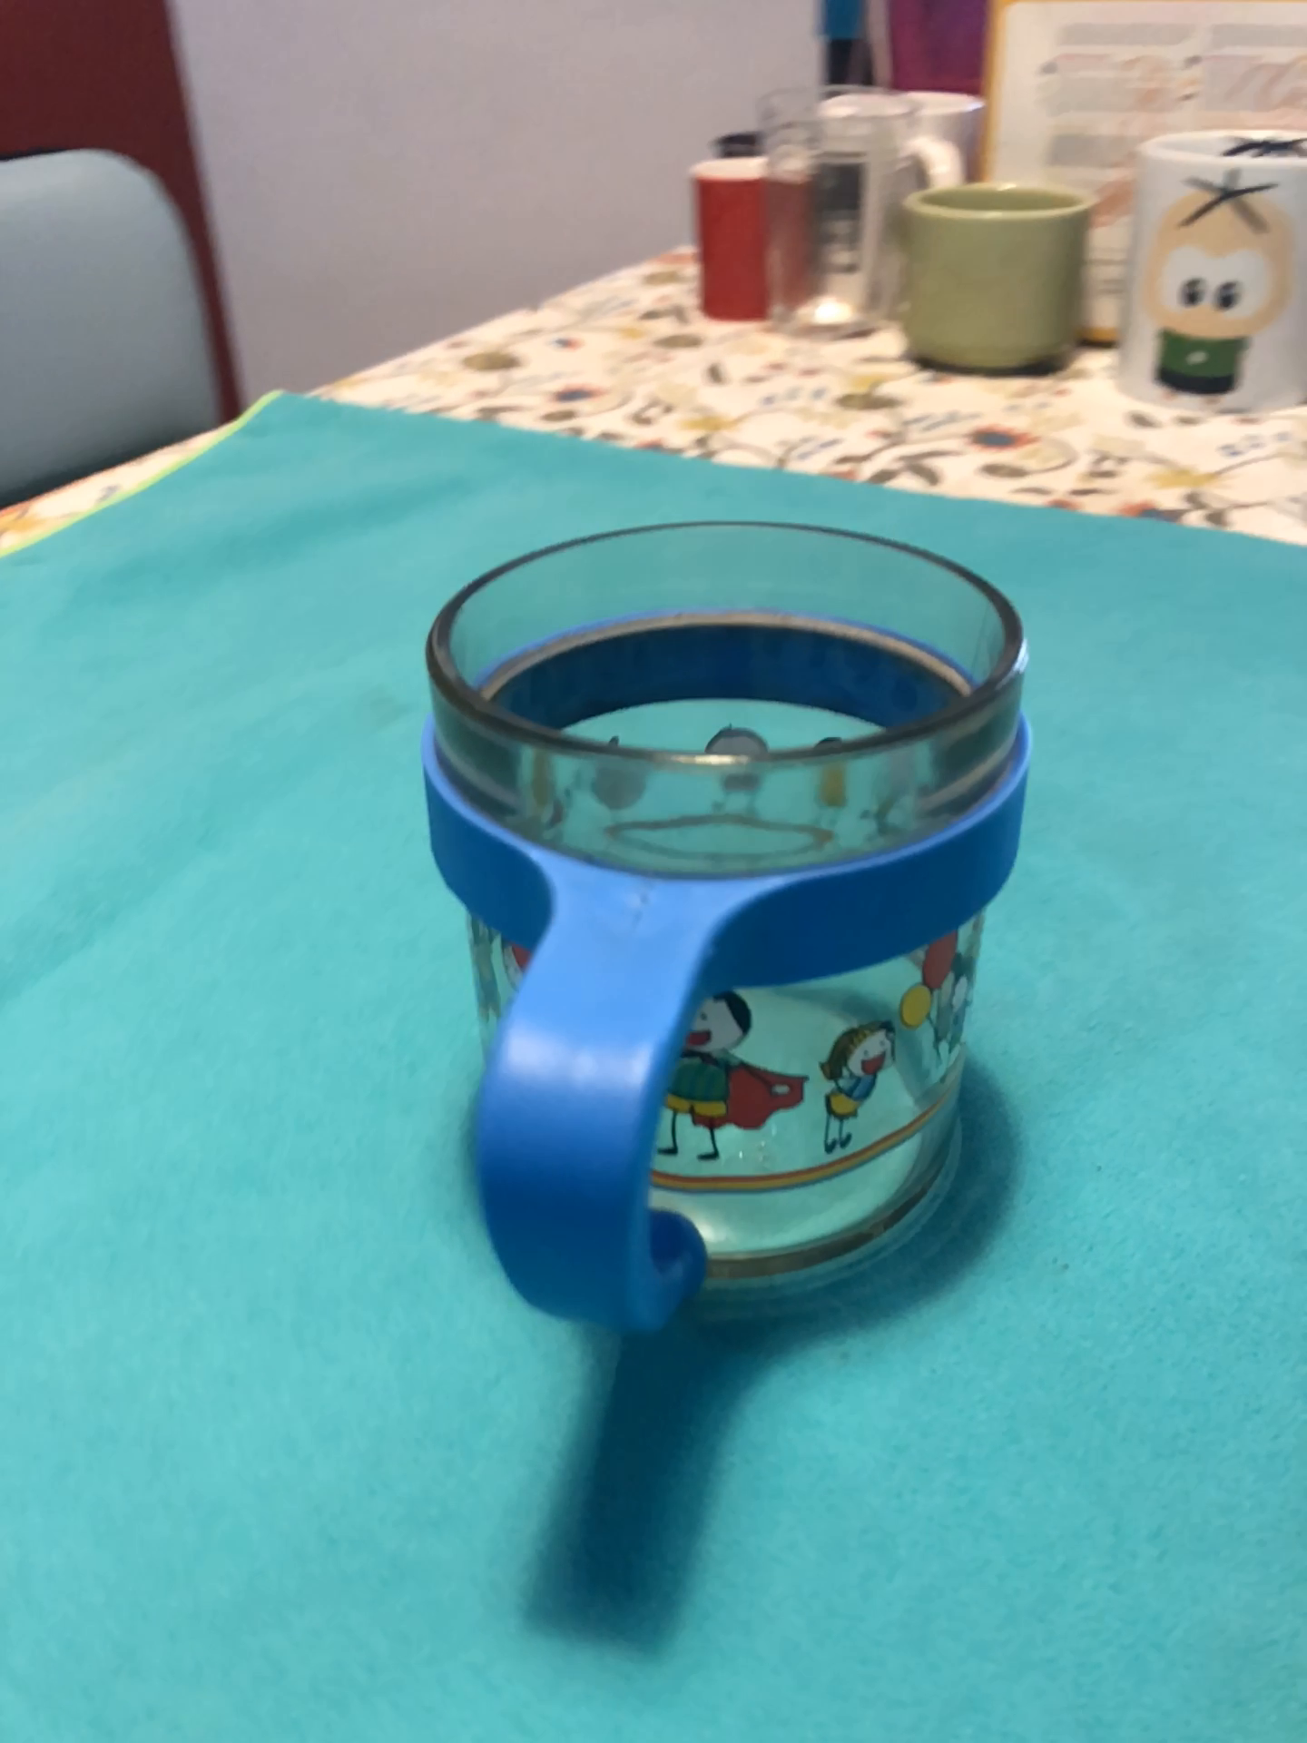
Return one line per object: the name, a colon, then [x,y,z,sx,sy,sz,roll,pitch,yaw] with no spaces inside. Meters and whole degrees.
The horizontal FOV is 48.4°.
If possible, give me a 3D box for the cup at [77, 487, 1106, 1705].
cup: [0.008,0.015,0.199,0.090,0.089,0.131,6,34,12]
